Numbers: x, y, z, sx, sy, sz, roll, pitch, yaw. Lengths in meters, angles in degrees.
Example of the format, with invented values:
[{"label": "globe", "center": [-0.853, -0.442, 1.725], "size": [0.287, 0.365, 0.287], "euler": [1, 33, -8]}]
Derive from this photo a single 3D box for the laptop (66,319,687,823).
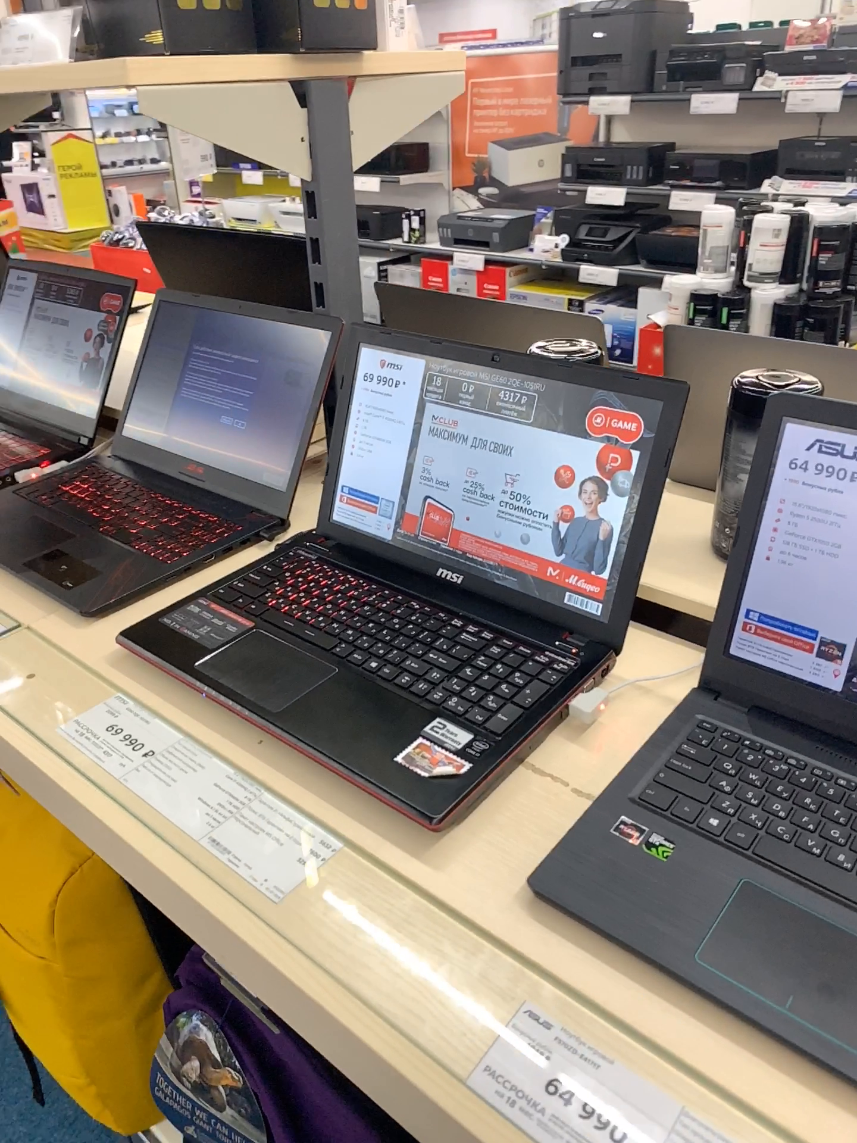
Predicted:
[{"label": "laptop", "center": [-0.035, -0.046, 0.710], "size": [0.356, 0.197, 0.313], "euler": [21, 37, 35]}]
